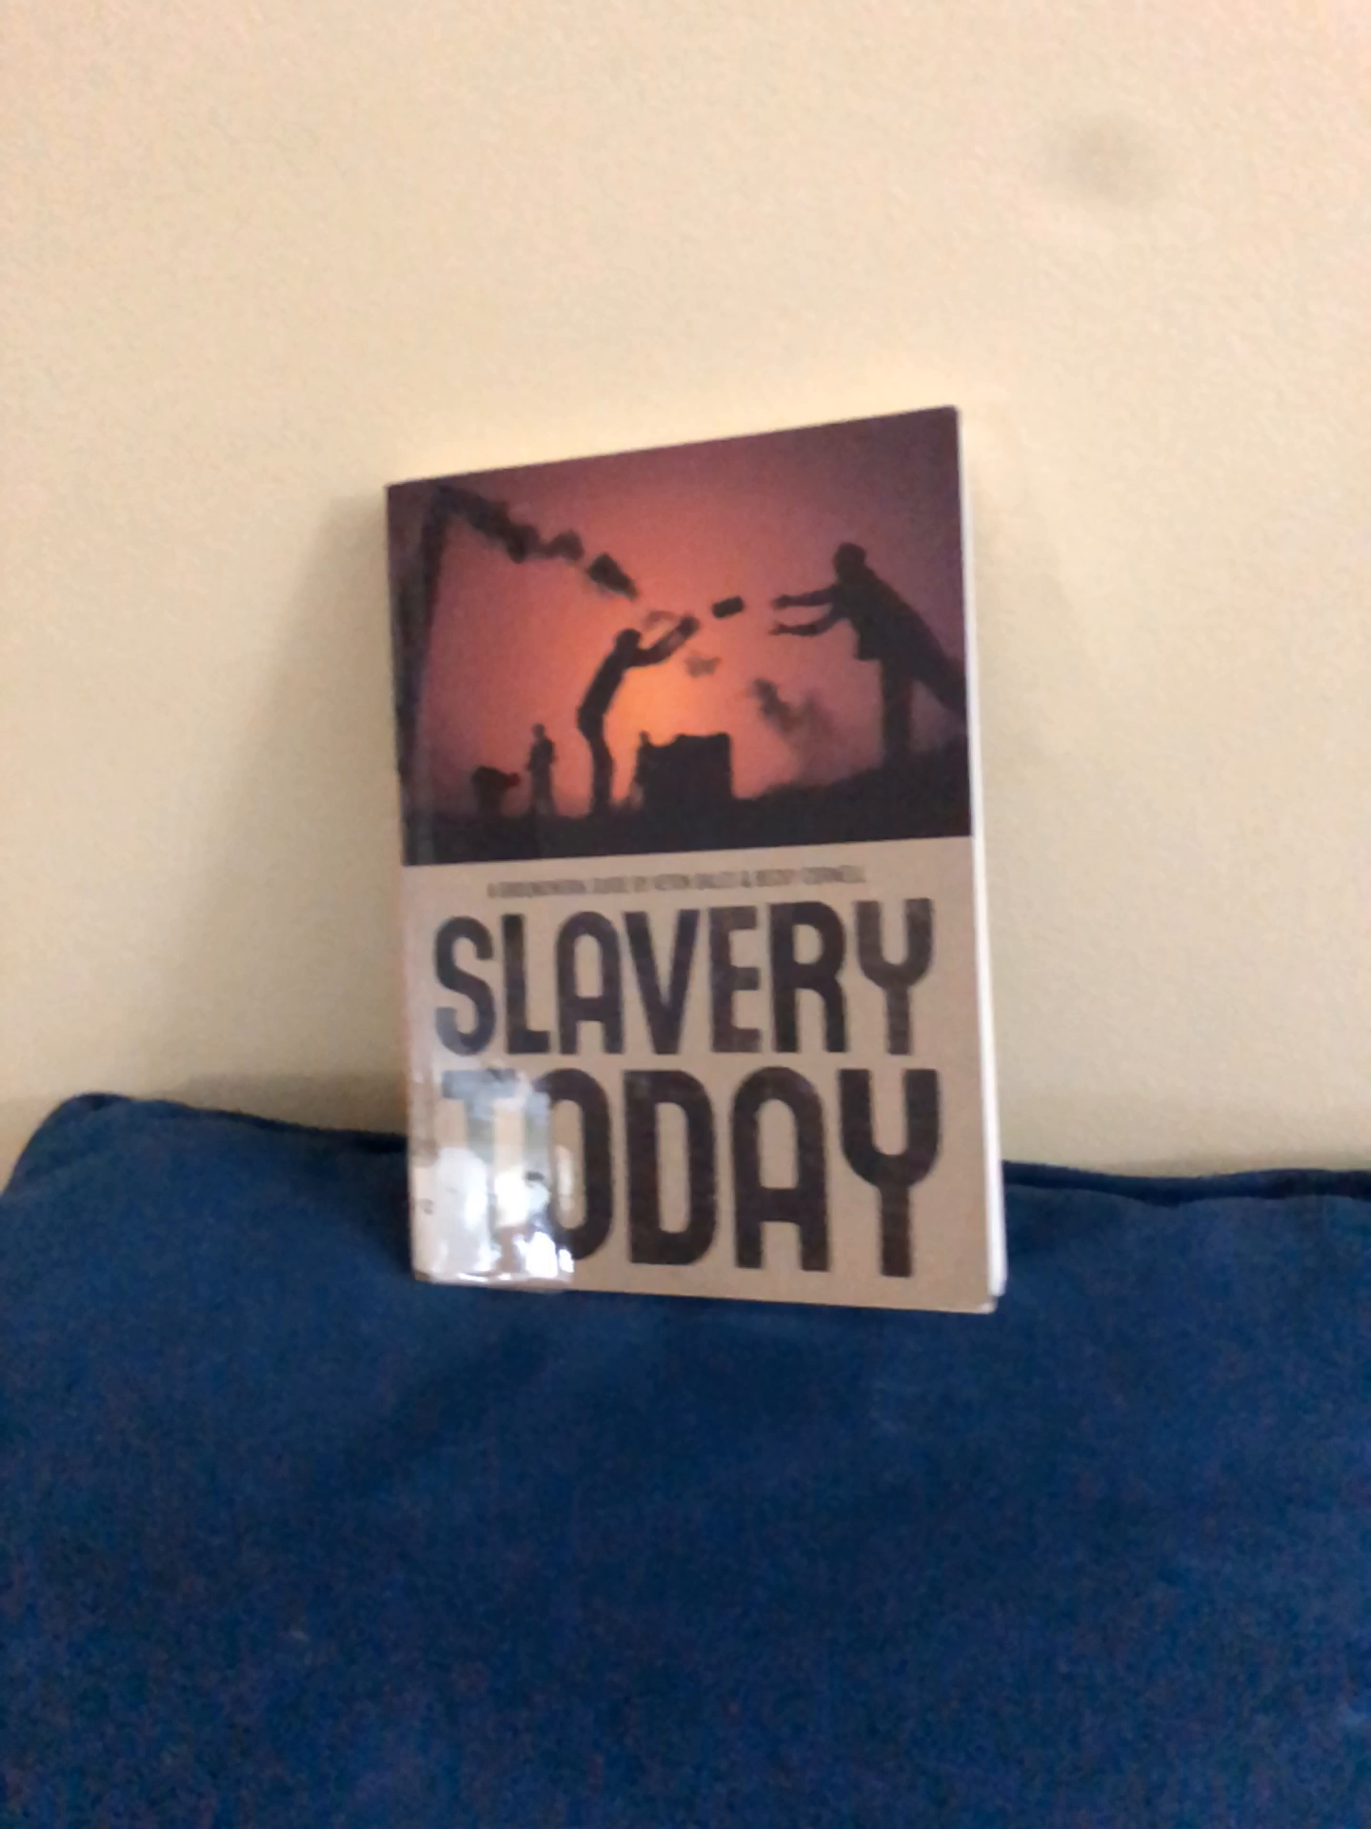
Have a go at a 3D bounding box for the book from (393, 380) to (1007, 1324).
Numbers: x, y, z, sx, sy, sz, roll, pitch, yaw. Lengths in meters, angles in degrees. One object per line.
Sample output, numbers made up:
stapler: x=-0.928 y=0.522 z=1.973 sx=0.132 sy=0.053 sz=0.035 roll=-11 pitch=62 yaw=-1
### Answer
book: x=0.000 y=-0.011 z=0.331 sx=0.127 sy=0.182 sz=0.028 roll=-2 pitch=-3 yaw=21
